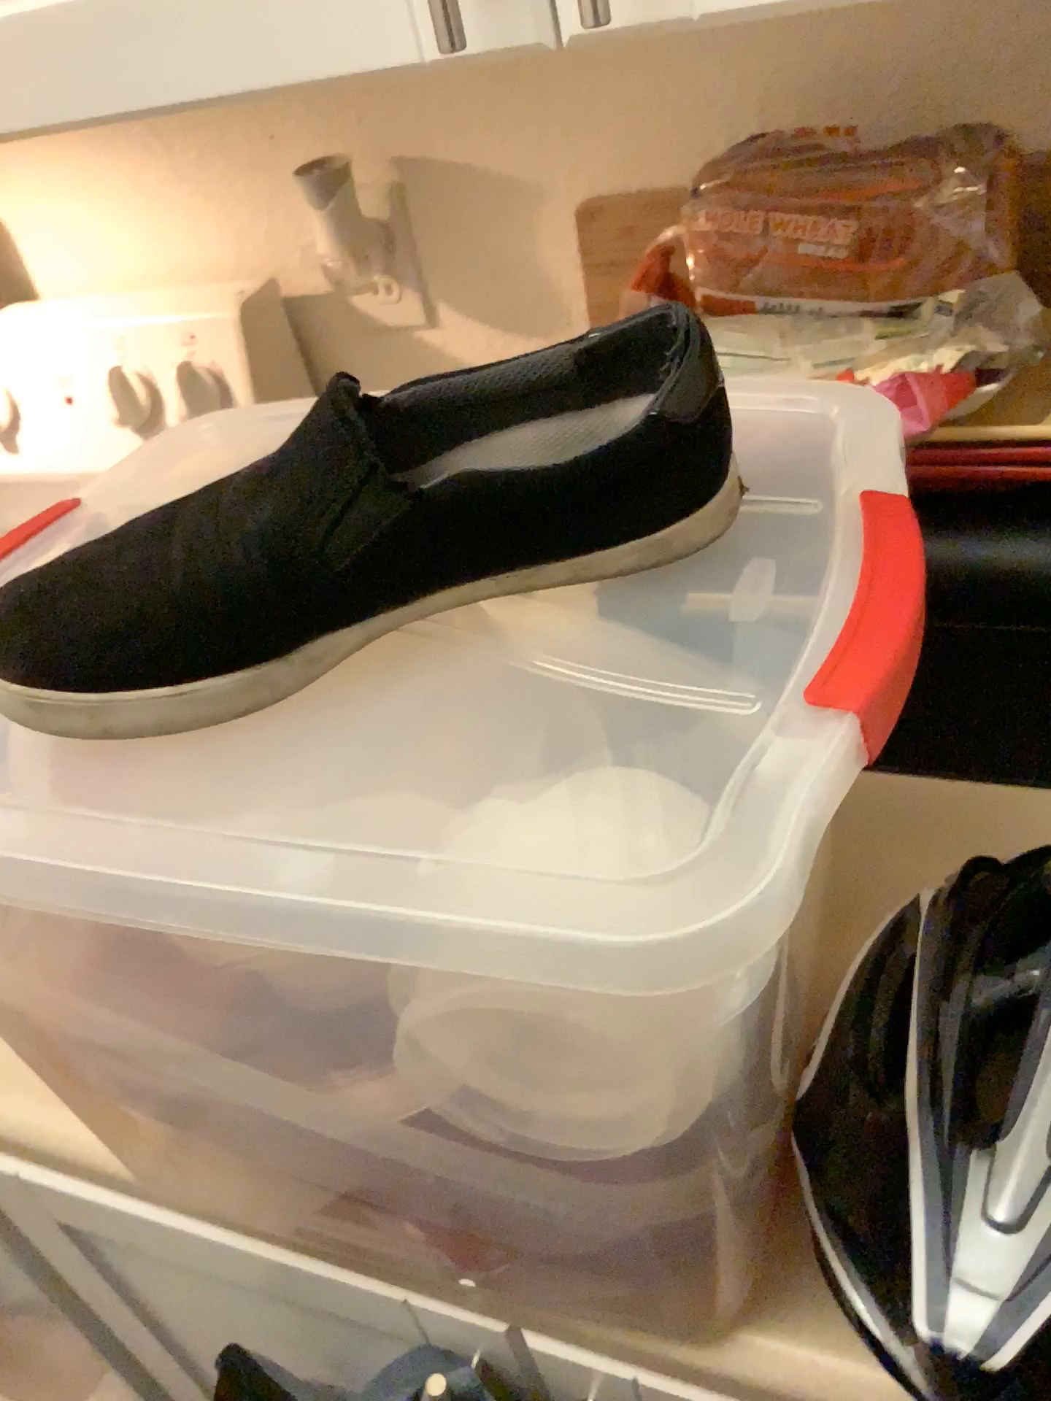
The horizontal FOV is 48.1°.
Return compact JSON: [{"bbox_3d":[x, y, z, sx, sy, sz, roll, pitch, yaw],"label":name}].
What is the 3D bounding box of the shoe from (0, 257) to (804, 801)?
[{"bbox_3d":[-0.054,-0.066,0.402,0.270,0.070,0.100,-19,36,-6],"label":"shoe"}]
